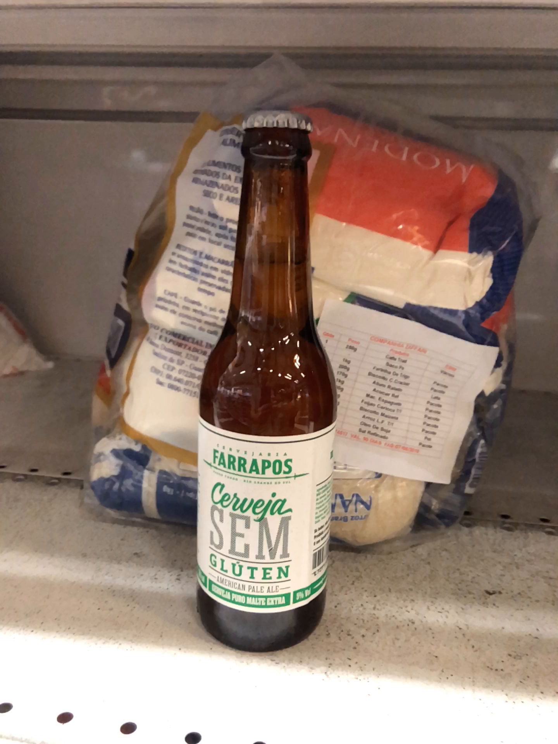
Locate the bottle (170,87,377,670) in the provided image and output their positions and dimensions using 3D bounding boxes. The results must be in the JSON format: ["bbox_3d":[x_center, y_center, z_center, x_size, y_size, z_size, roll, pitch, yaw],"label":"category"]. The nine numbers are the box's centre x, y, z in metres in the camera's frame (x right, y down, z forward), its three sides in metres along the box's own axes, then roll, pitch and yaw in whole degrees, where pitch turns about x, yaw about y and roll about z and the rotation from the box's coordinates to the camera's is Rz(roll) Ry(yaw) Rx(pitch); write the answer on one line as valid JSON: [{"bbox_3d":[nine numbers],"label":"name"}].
[{"bbox_3d":[-0.003,0.006,0.270,0.070,0.229,0.060,5,16,8],"label":"bottle"}]
